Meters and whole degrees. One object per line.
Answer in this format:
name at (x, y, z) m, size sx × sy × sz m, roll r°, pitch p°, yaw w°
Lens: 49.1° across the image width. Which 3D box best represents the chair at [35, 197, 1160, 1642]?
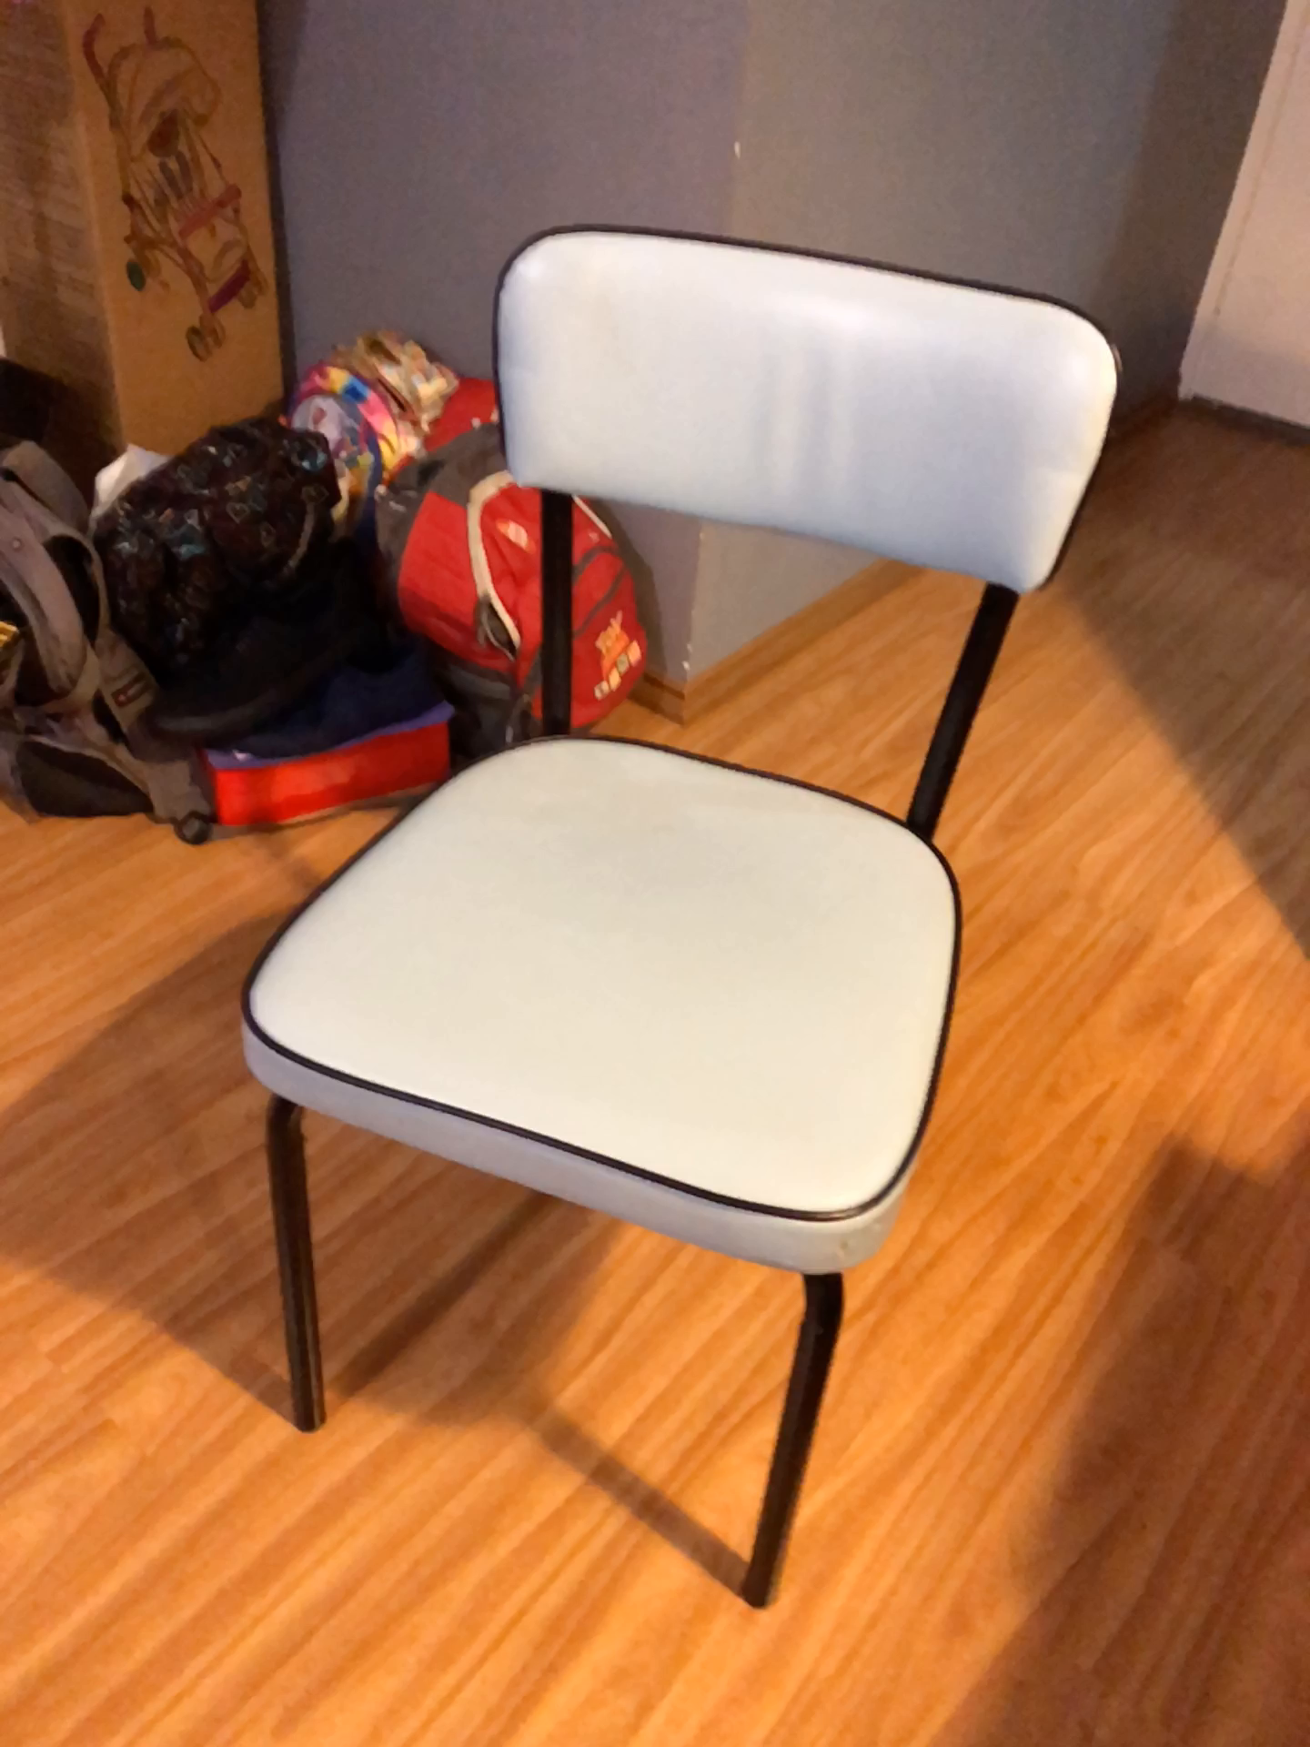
chair at (-0.001, 0.037, 1.017) m, size 0.450 × 0.793 × 0.504 m, roll 15°, pitch 40°, yaw 13°
